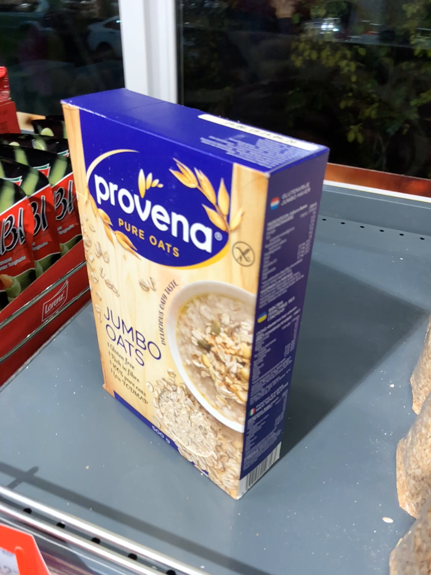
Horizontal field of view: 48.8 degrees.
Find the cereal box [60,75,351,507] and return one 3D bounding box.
[{"bbox_3d":[-0.017,0.006,0.298,0.150,0.229,0.050,29,43,33],"label":"cereal box"}]
